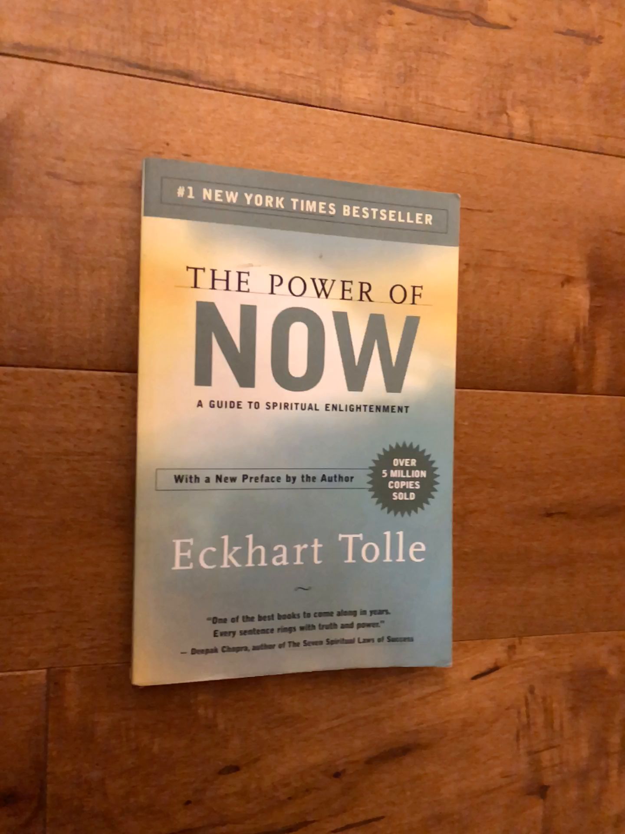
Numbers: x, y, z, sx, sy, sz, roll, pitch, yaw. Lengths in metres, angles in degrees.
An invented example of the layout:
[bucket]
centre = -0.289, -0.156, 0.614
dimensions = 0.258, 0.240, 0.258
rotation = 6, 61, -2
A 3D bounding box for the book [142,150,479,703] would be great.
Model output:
[book]
centre = 0.001, 0.005, 0.311
dimensions = 0.146, 0.030, 0.222
rotation = 1, 90, -16
